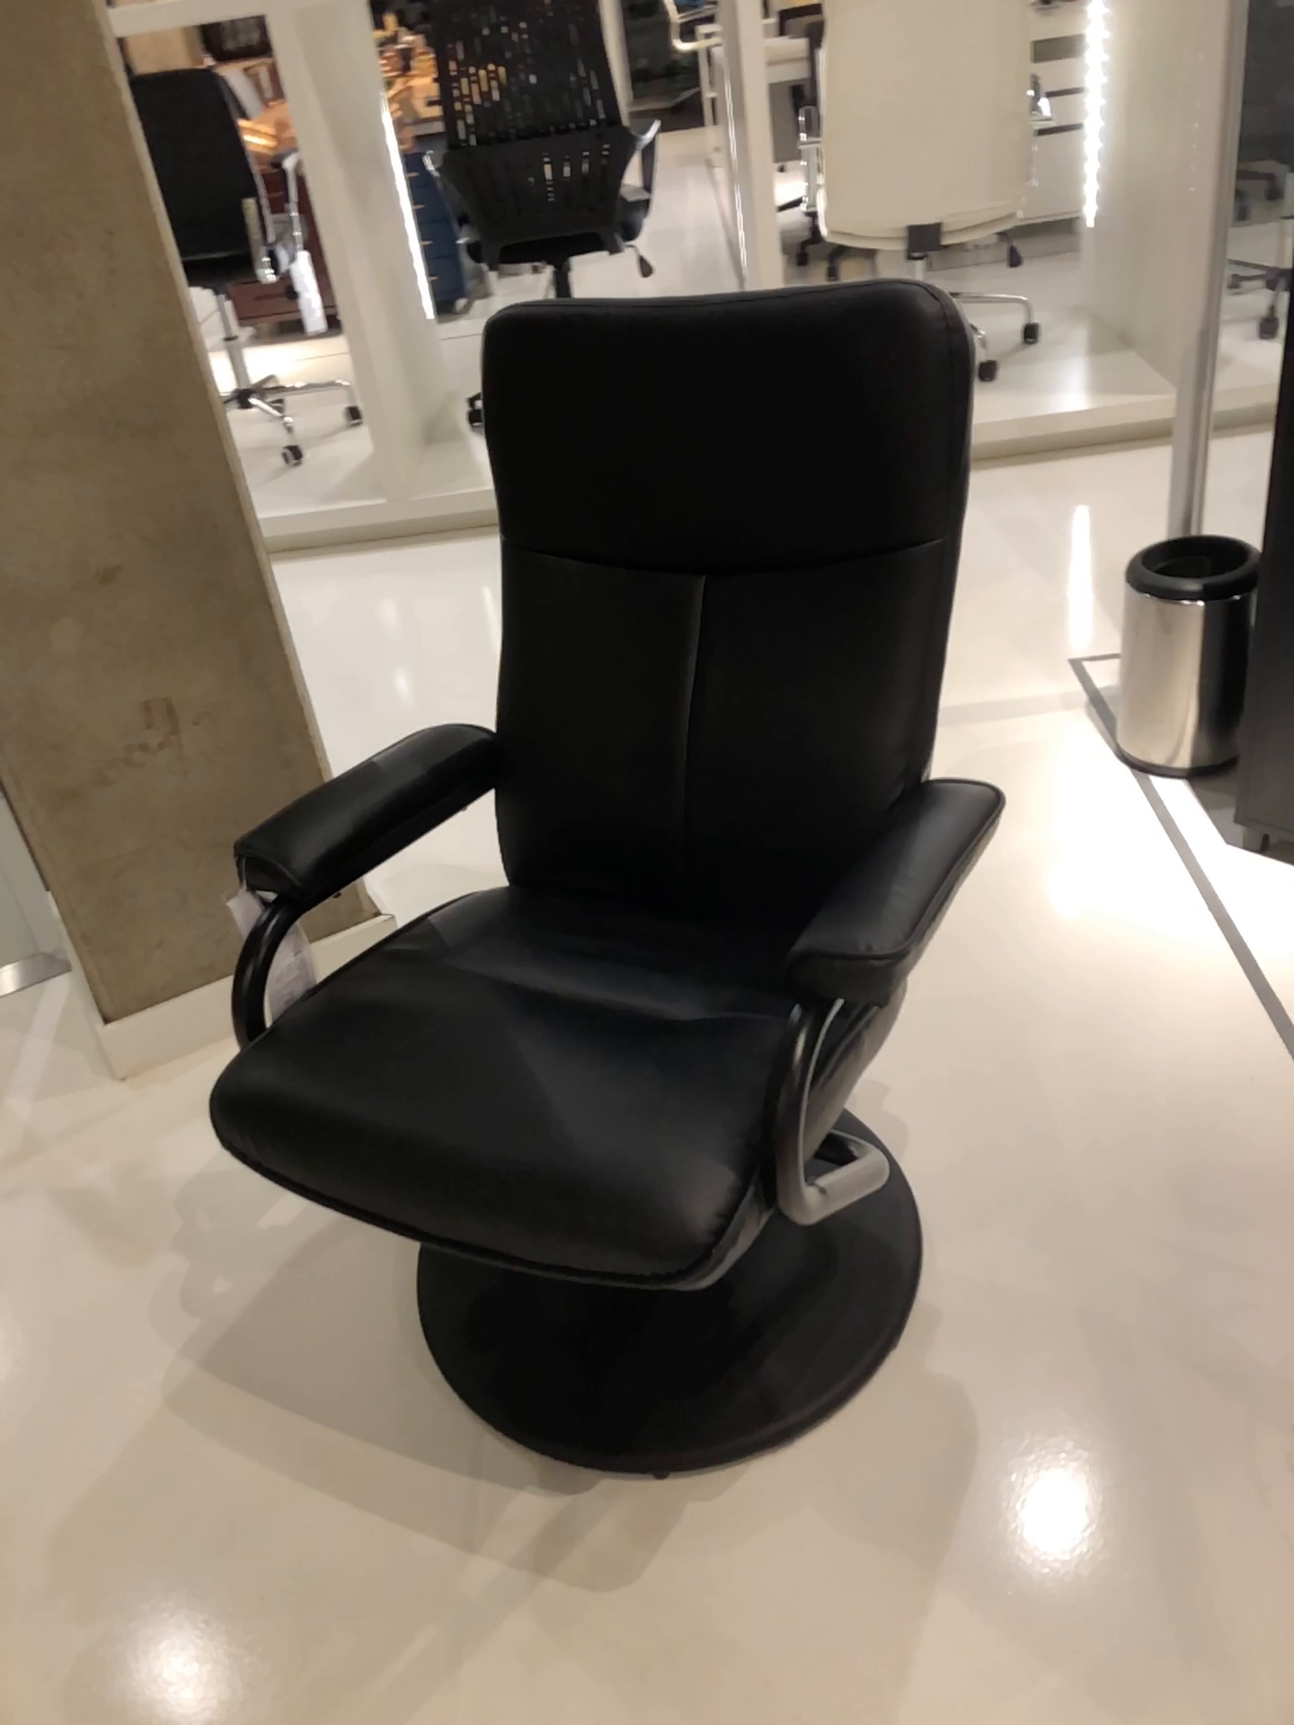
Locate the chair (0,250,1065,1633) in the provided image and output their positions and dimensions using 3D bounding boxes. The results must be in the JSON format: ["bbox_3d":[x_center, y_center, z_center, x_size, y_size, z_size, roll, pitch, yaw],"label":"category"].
[{"bbox_3d":[-0.029,0.024,1.399,0.691,0.992,0.735,9,37,25],"label":"chair"}]
